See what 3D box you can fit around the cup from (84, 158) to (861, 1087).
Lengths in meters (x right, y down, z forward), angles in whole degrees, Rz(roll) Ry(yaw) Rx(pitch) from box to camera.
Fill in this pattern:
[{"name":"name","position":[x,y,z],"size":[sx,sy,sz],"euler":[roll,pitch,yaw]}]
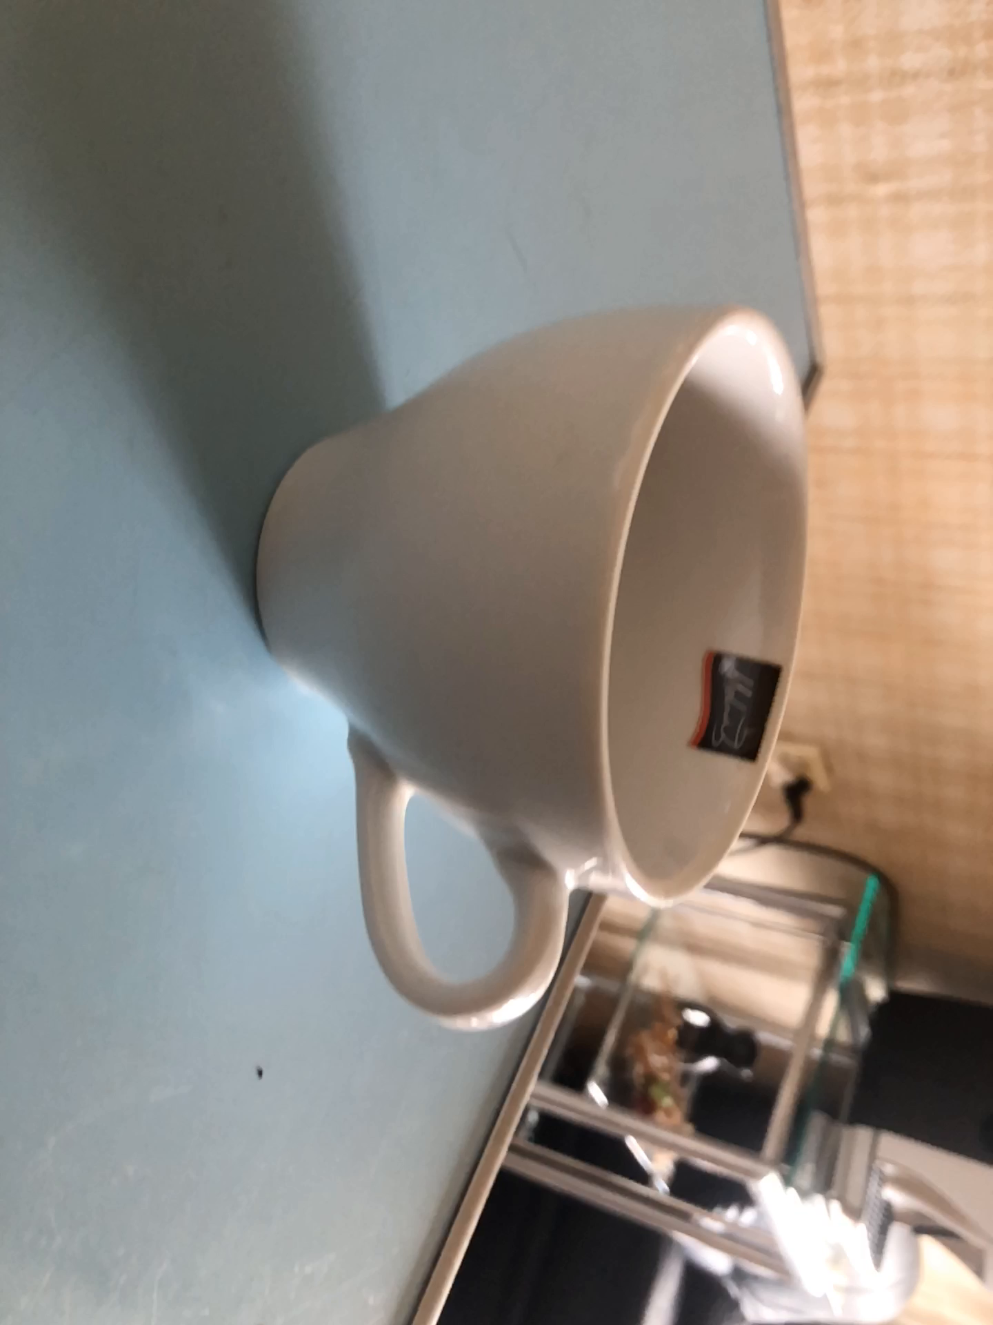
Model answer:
[{"name":"cup","position":[0.010,0.001,0.177],"size":[0.097,0.057,0.106],"euler":[-23,117,-56]}]
